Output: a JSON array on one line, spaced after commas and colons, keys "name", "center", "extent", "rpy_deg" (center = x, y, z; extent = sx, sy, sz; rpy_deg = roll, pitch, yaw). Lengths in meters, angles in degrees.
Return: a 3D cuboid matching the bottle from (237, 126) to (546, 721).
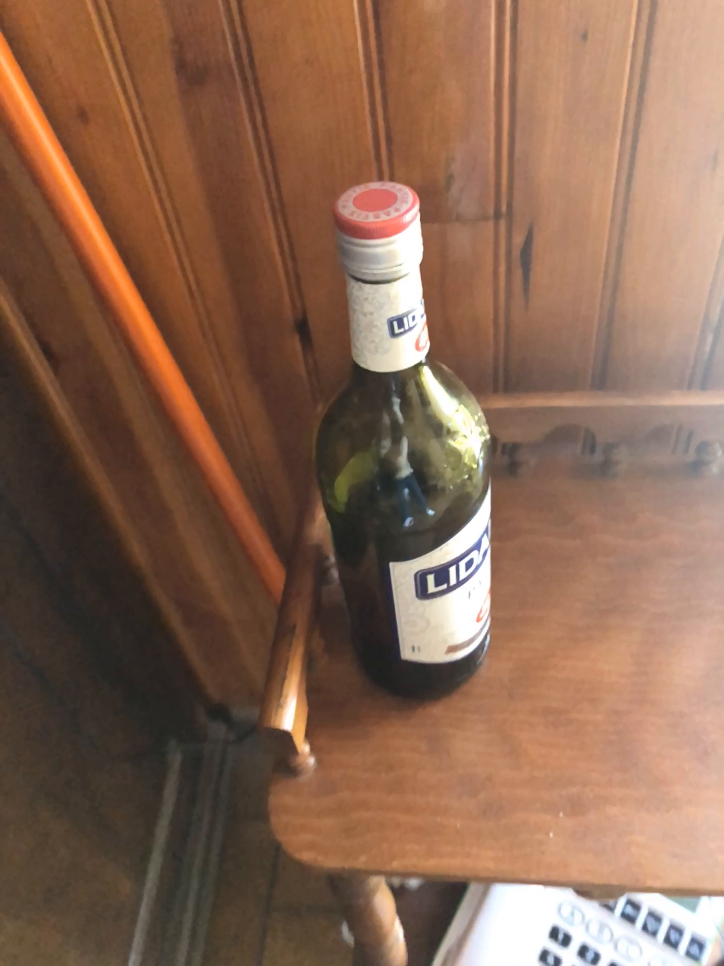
[{"name": "bottle", "center": [0.029, -0.002, 0.393], "extent": [0.080, 0.298, 0.091], "rpy_deg": [15, 52, 20]}]
